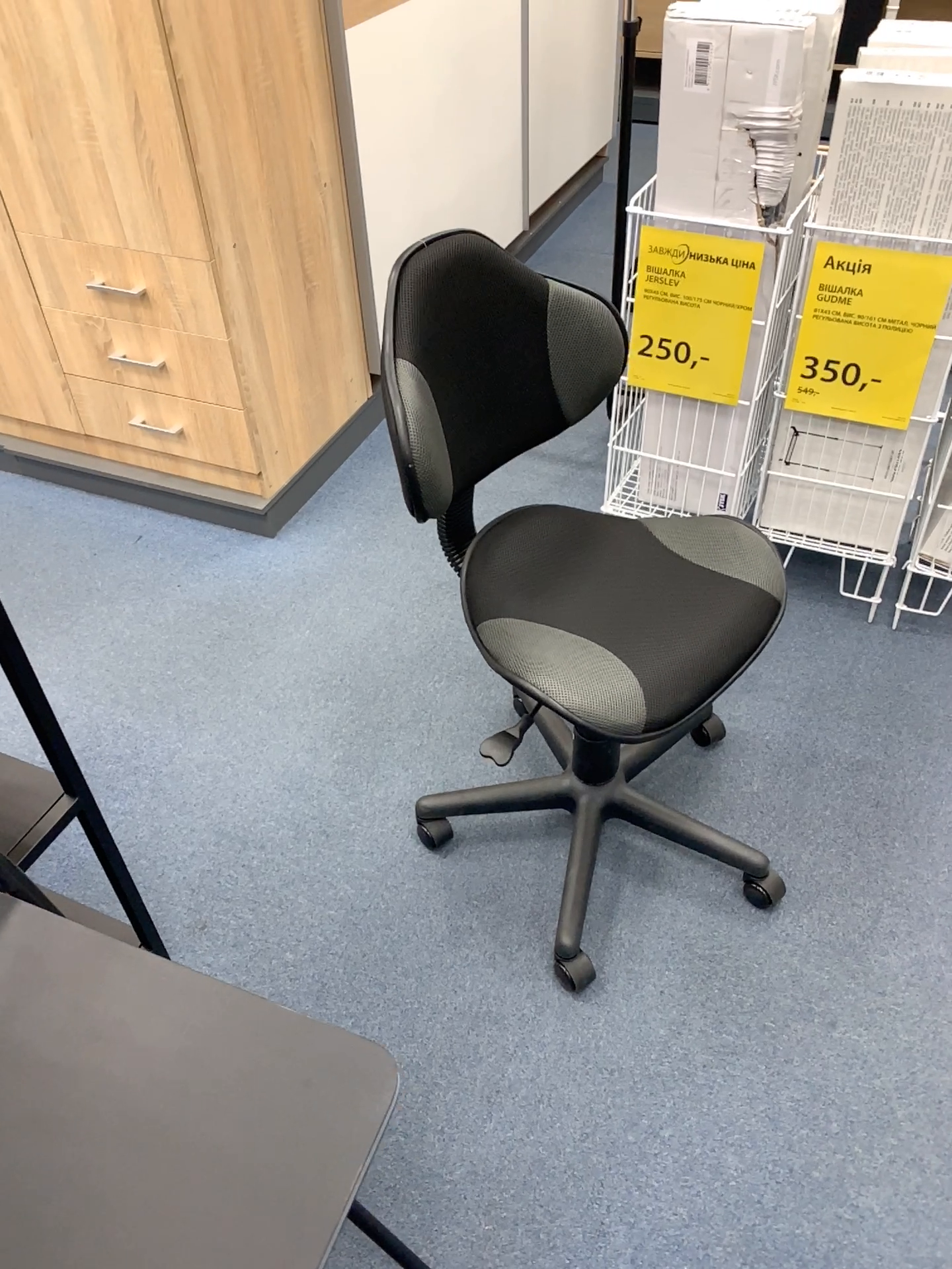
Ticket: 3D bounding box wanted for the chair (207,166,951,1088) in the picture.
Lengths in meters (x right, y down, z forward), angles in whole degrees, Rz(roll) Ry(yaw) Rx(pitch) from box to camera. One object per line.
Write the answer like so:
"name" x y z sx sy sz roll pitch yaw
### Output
"chair" 0.185 -0.028 1.369 0.692 0.916 0.631 30 52 31
